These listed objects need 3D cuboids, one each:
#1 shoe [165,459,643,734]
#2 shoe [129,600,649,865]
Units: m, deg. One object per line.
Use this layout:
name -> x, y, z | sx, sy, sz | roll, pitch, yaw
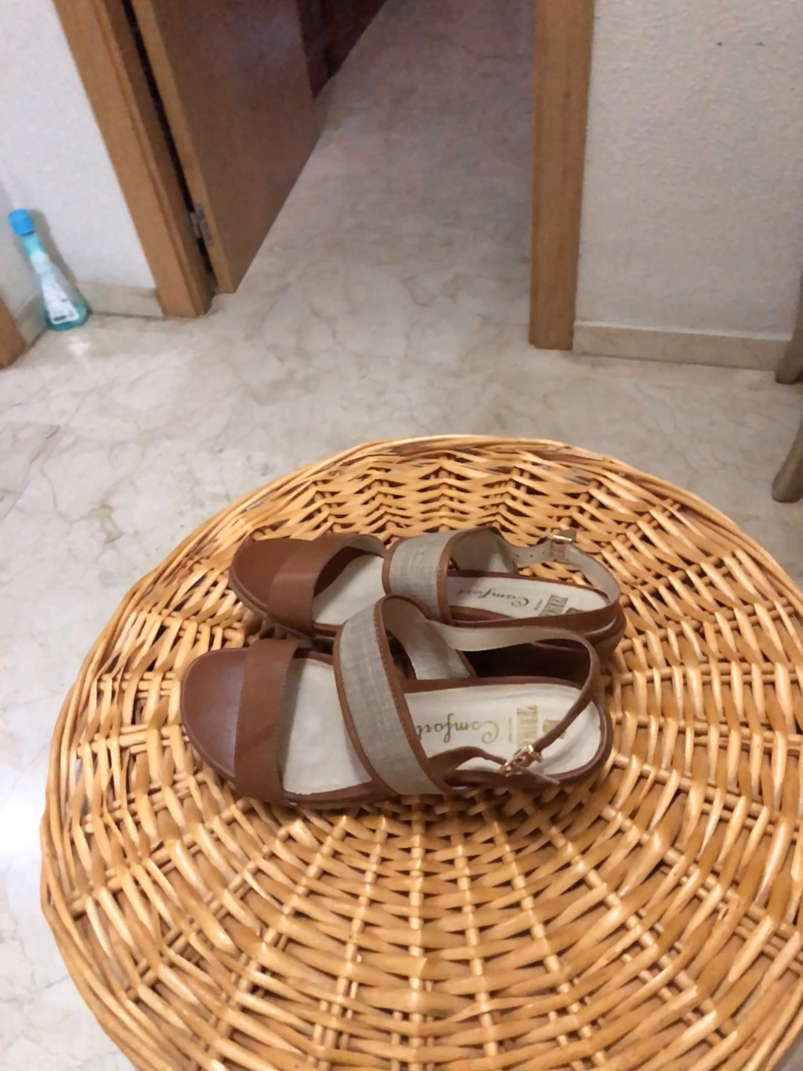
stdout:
shoe -> 0.002, 0.029, 0.555 | 0.270, 0.070, 0.100 | 12, 37, 17
shoe -> -0.002, 0.111, 0.513 | 0.270, 0.090, 0.090 | 4, 50, 11
